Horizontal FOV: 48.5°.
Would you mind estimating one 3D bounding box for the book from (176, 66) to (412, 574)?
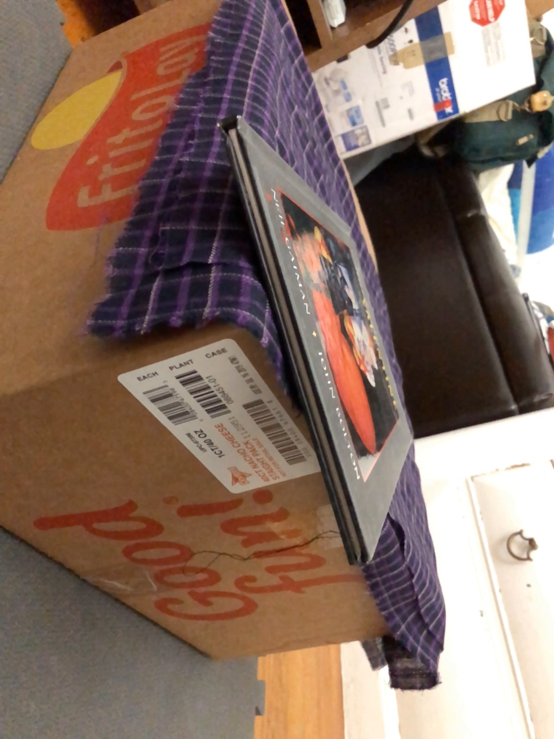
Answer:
[{"bbox_3d":[0.035,-0.027,0.351,0.281,0.020,0.180,-16,90,-74],"label":"book"}]
